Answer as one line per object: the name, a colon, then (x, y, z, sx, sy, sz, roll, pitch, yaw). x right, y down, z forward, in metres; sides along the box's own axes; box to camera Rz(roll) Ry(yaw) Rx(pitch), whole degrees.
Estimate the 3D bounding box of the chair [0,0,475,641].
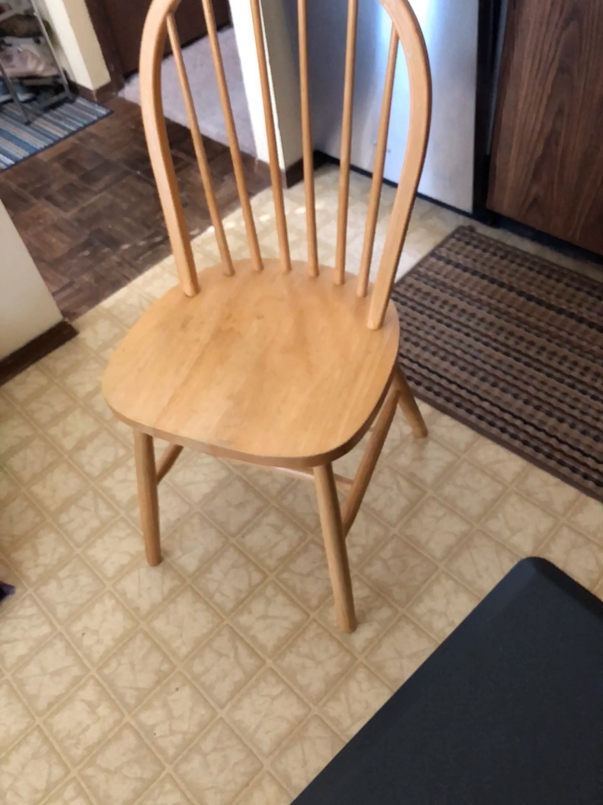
chair: (-0.060, -0.139, 1.021, 0.460, 0.899, 0.560, 13, 53, 19)
